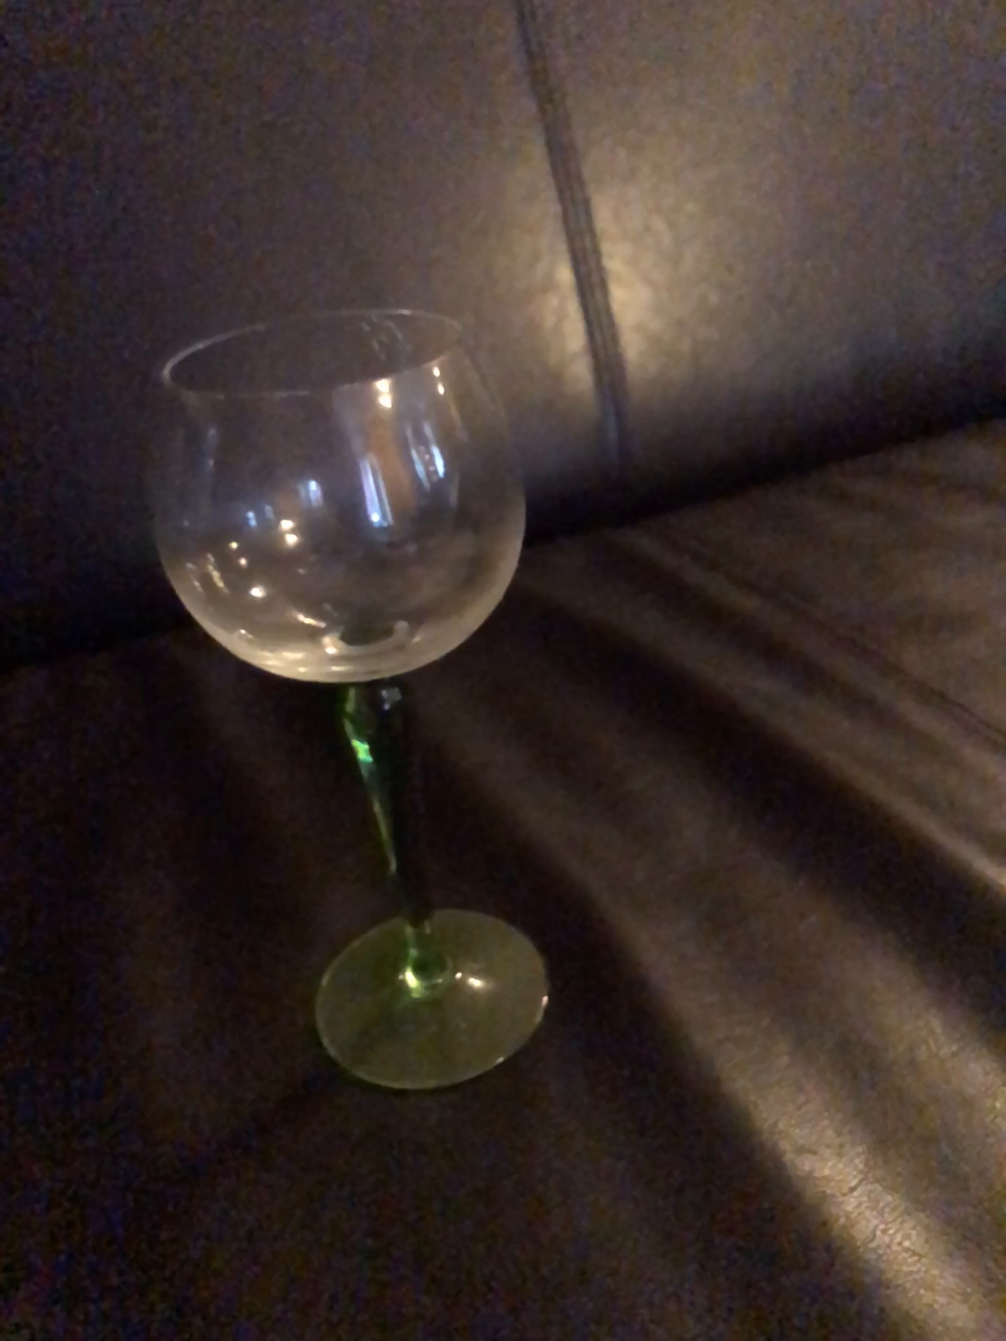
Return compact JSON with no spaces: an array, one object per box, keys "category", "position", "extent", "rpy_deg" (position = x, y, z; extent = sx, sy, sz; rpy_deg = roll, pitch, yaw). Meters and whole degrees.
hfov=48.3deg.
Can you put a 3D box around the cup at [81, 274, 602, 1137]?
[{"category":"cup","position":[-0.033,0.010,0.278],"extent":[0.080,0.185,0.080],"rpy_deg":[-6,29,3]}]
